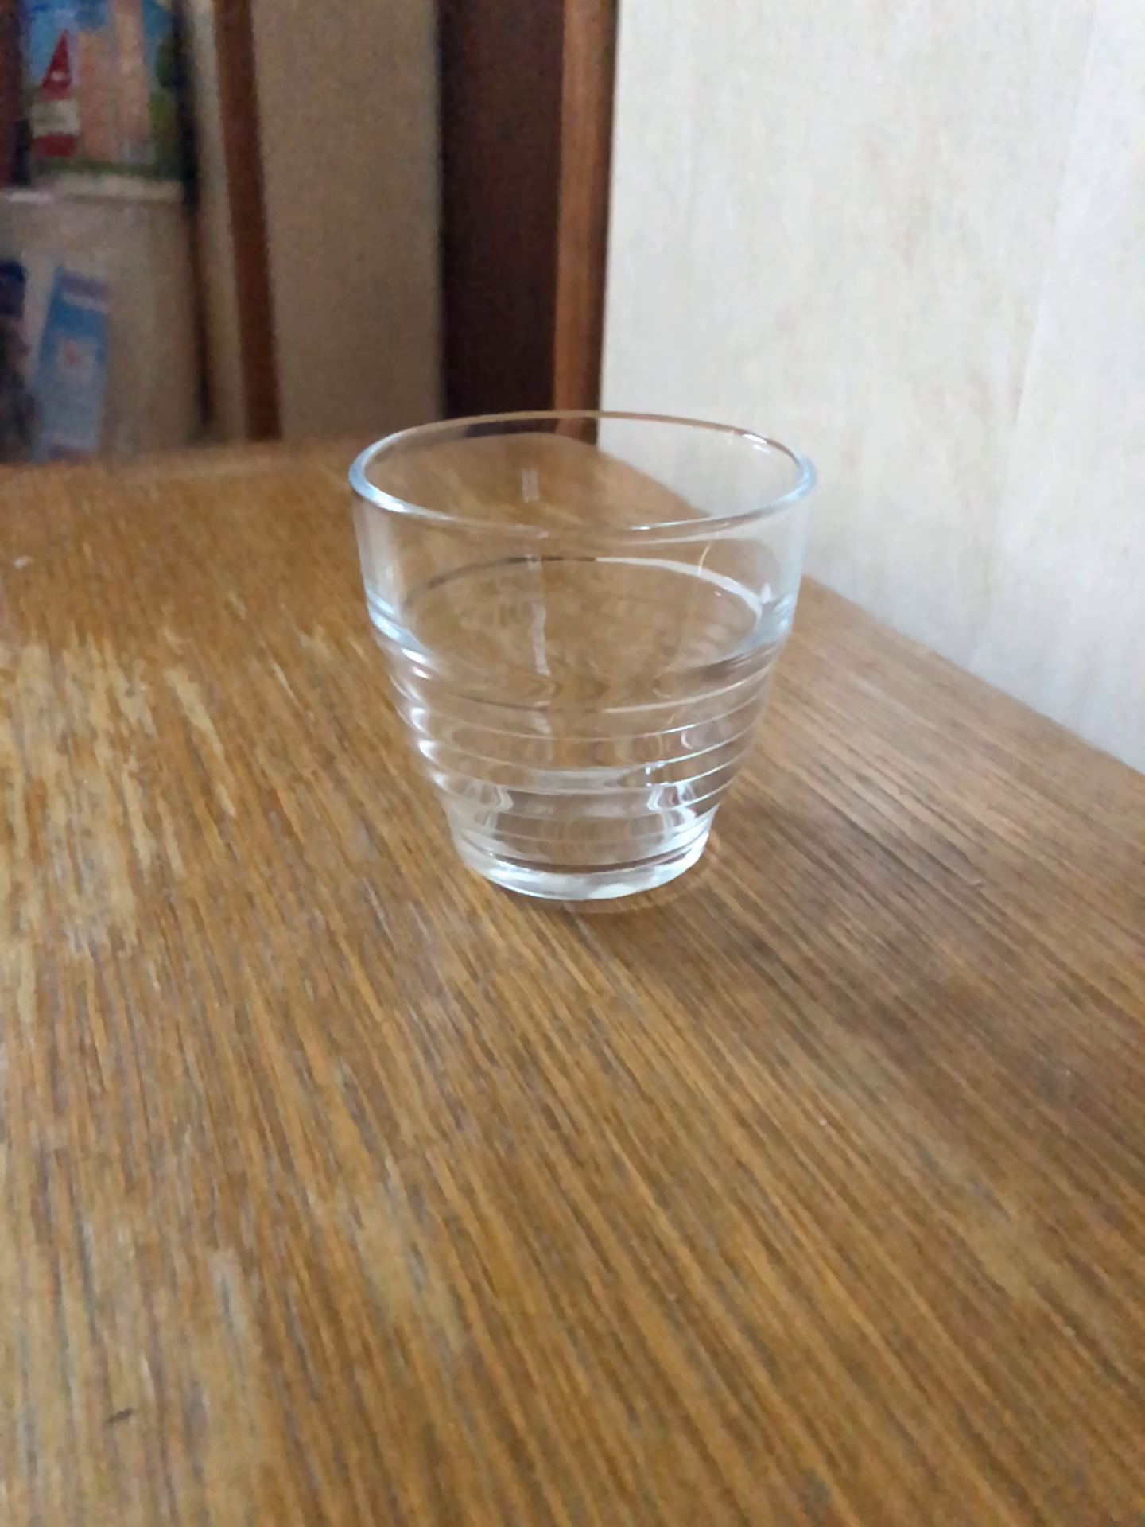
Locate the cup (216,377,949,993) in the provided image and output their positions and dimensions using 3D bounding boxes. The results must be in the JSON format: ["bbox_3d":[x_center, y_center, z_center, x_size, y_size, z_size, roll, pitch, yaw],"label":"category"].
[{"bbox_3d":[0.001,-0.022,0.211,0.080,0.060,0.080,2,28,-1],"label":"cup"}]
